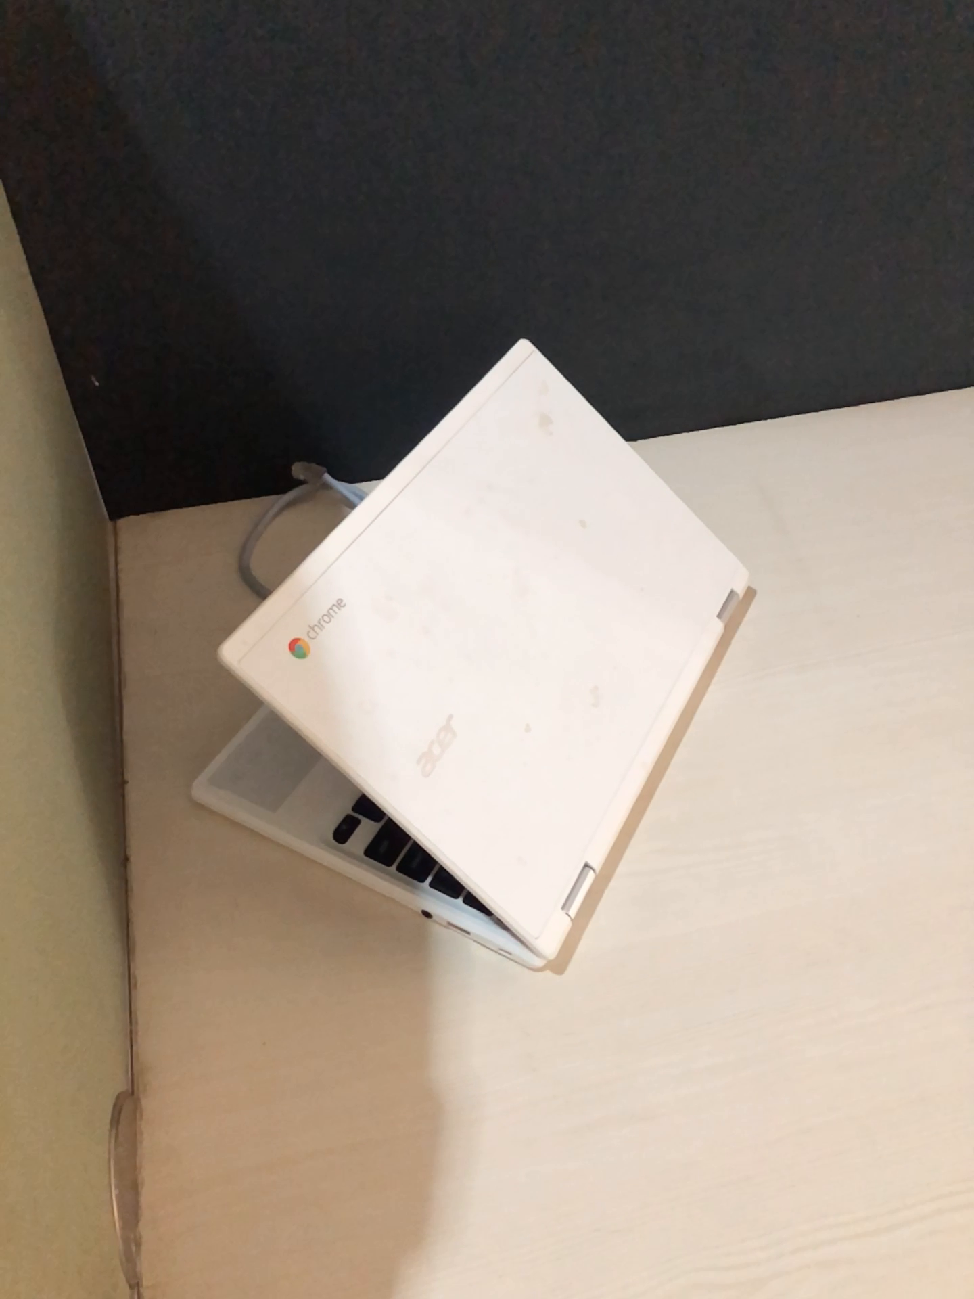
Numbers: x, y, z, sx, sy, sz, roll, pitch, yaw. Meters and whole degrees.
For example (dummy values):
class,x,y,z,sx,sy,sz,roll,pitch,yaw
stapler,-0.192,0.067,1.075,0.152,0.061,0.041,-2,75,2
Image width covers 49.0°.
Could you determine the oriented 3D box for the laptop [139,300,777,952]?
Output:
class,x,y,z,sx,sy,sz,roll,pitch,yaw
laptop,0.005,-0.034,0.541,0.187,0.114,0.286,21,50,17
